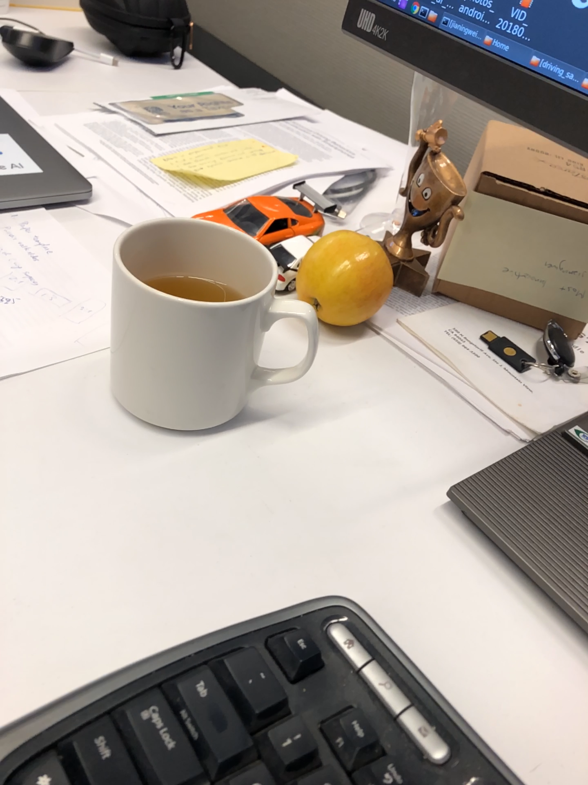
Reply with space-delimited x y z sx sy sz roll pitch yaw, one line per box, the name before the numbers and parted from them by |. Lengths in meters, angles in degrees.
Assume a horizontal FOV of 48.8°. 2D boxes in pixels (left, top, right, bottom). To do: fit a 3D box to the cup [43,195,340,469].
cup | -0.049 -0.032 0.328 0.120 0.080 0.080 15 39 0
